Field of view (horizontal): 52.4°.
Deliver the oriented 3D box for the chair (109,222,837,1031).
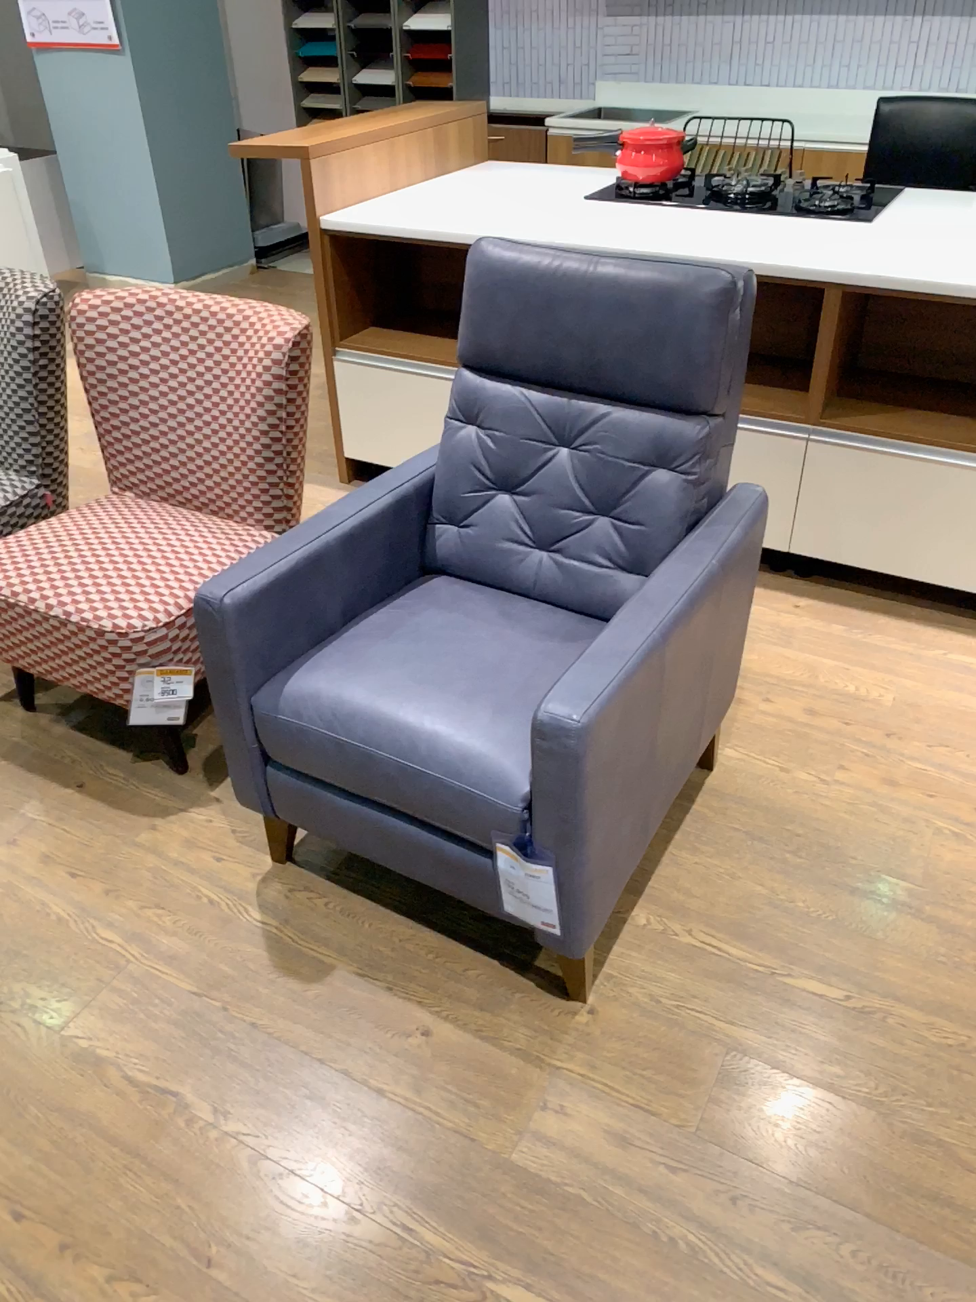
[{"bbox_3d":[0.039,-0.119,1.779,0.771,0.996,0.852,17,39,26],"label":"chair"}]
